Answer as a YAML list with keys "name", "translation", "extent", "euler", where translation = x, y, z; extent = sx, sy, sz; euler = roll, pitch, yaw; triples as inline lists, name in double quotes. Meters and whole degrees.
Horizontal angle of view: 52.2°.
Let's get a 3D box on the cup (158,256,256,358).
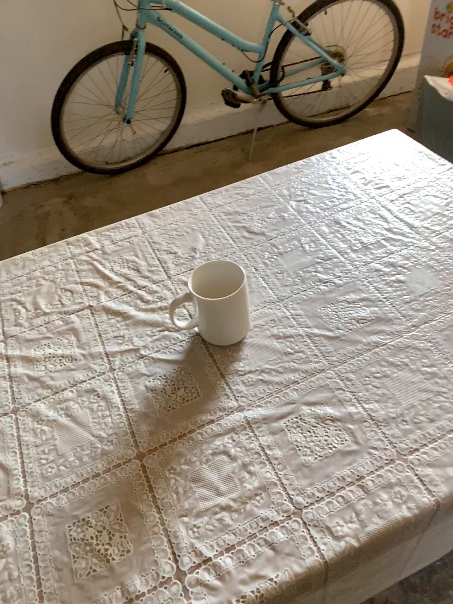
- name: "cup"
  translation: [-0.028, 0.007, 0.673]
  extent: [0.120, 0.090, 0.090]
  euler: [-11, 48, -1]
